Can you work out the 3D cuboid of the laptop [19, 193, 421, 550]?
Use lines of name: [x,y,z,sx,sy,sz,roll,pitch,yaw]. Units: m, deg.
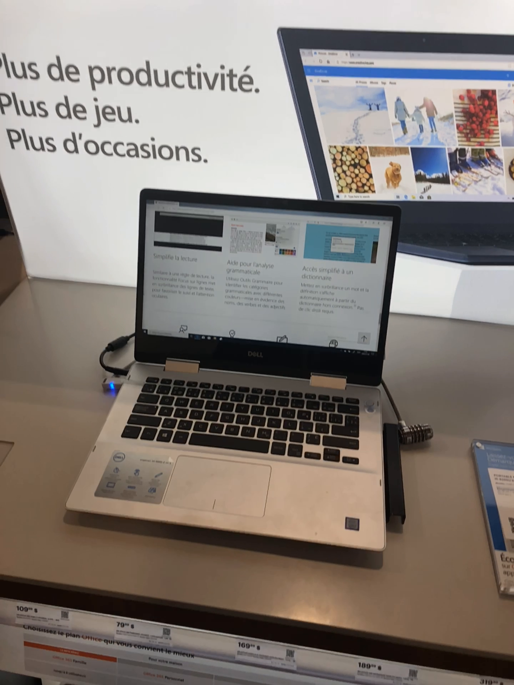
laptop: [-0.011,0.004,0.627,0.316,0.193,0.338,5,39,7]
